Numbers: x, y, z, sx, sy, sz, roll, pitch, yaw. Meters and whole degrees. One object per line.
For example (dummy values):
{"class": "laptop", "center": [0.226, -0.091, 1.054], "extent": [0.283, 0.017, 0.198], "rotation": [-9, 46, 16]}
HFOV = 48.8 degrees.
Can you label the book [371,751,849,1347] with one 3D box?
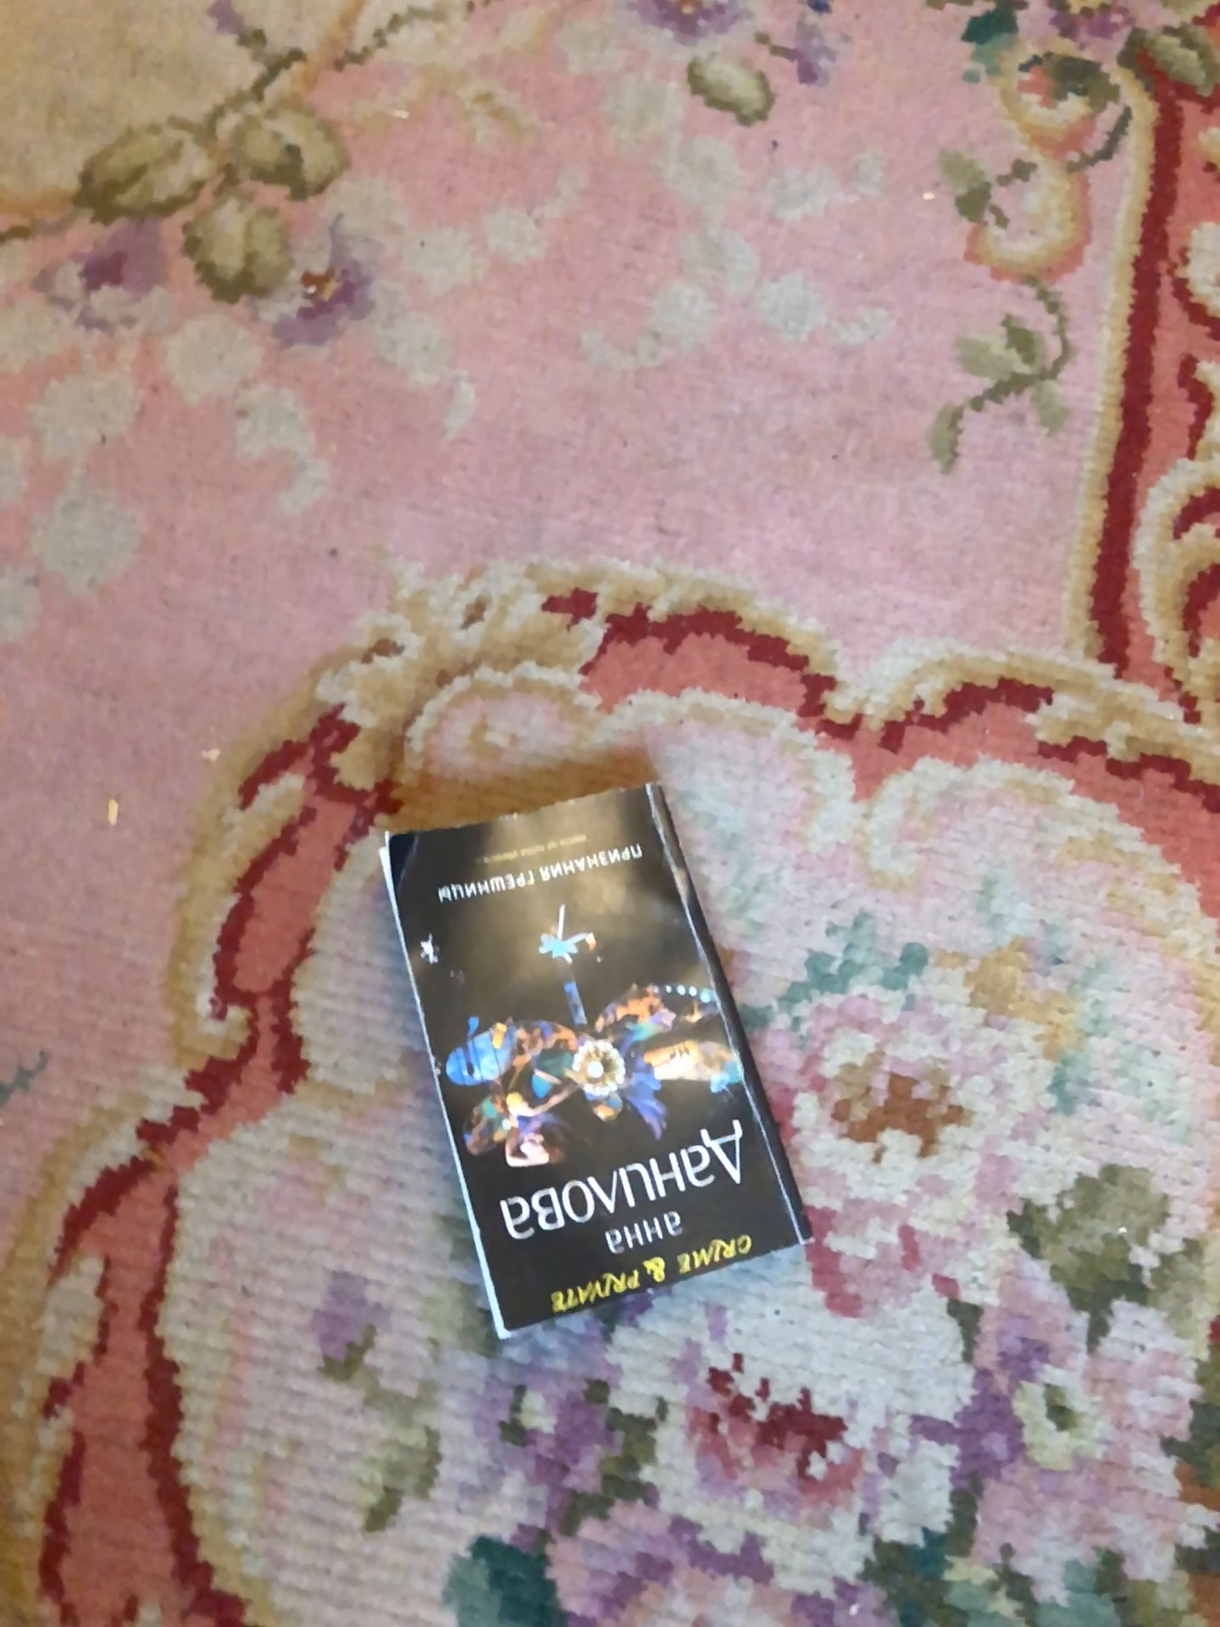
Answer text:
{"class": "book", "center": [-0.005, 0.075, 0.448], "extent": [0.110, 0.050, 0.165], "rotation": [-14, 71, -9]}
